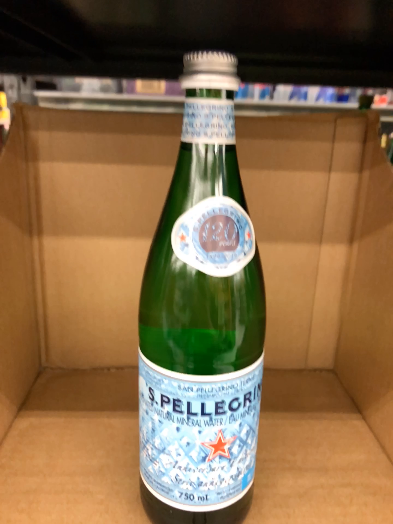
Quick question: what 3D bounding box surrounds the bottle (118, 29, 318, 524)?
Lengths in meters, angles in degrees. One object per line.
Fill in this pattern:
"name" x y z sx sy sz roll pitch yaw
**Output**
"bottle" 0.003 0.031 0.251 0.080 0.278 0.070 1 17 -4
